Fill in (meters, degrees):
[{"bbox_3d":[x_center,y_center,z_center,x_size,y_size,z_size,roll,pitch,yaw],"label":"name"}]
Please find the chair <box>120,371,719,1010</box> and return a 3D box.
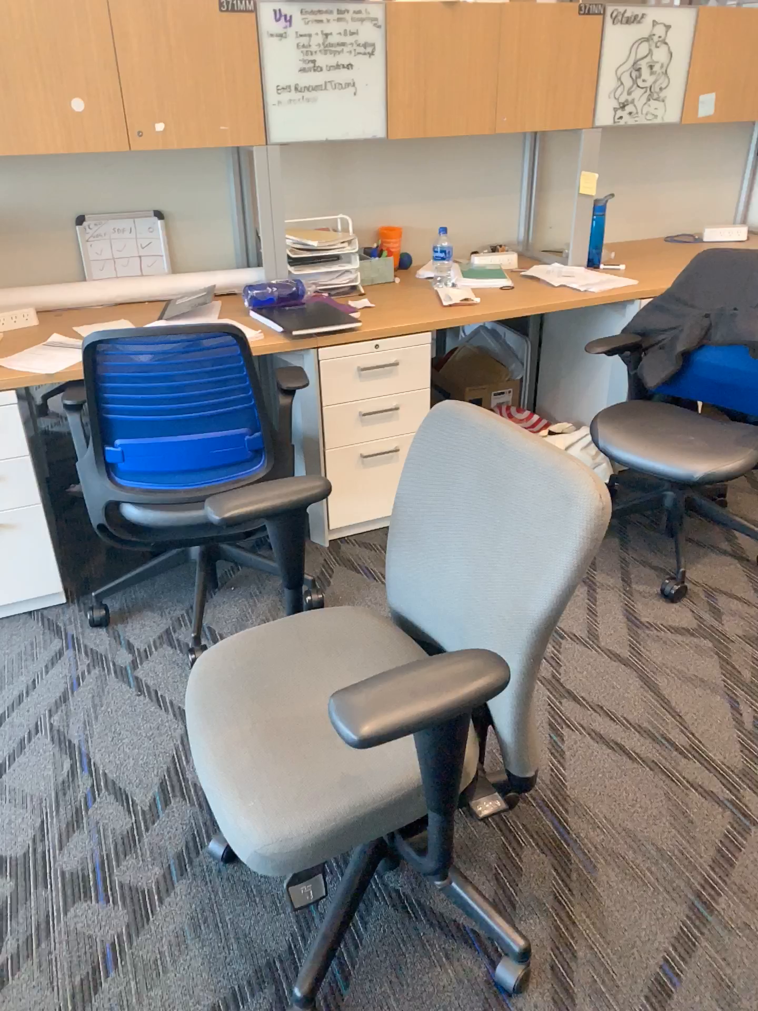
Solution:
[{"bbox_3d":[-0.002,0.305,1.322,0.661,0.813,0.675,-11,30,-19],"label":"chair"}]
